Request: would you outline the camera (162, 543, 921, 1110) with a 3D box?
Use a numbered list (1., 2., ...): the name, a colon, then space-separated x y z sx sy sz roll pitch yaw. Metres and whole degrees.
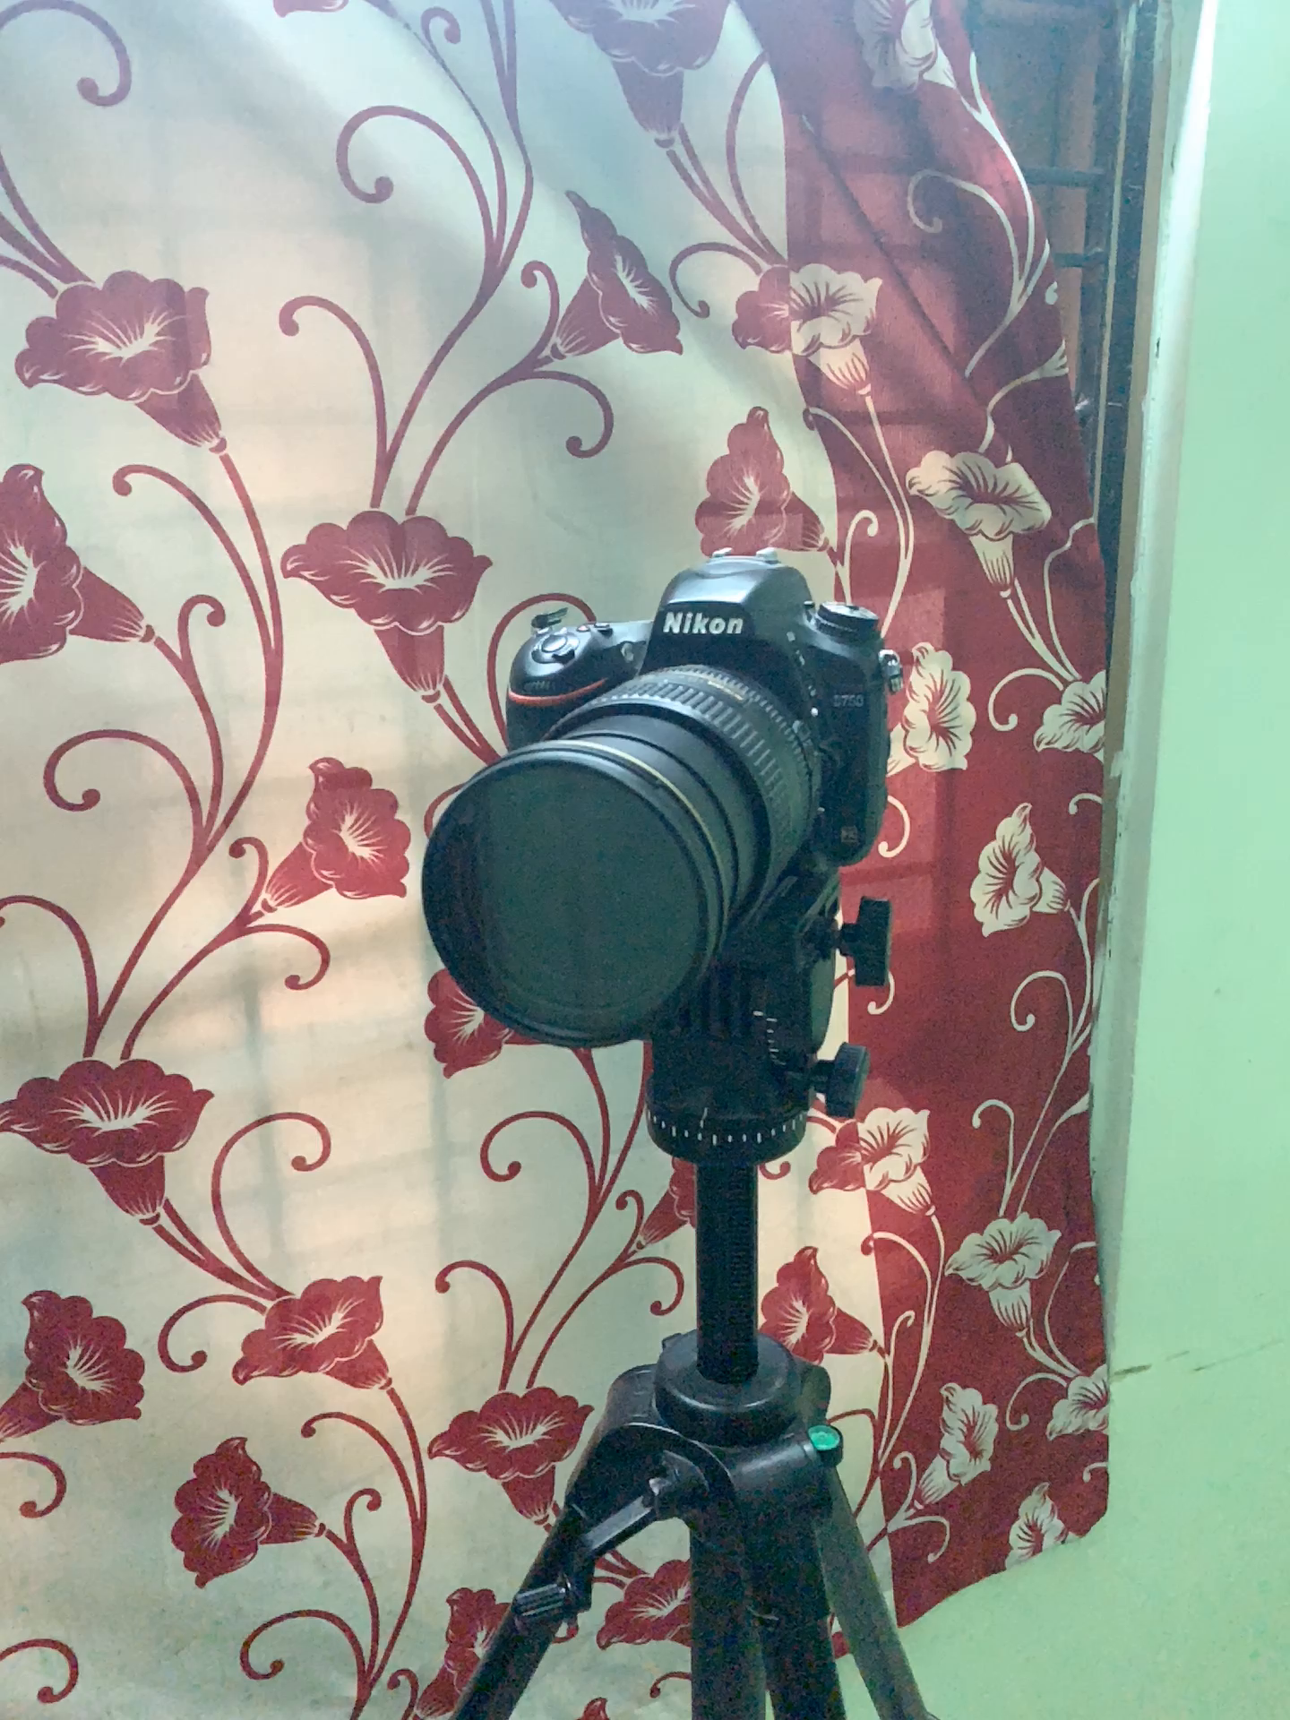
1. camera: -0.011 -0.027 0.393 0.172 0.122 0.170 2 16 14
